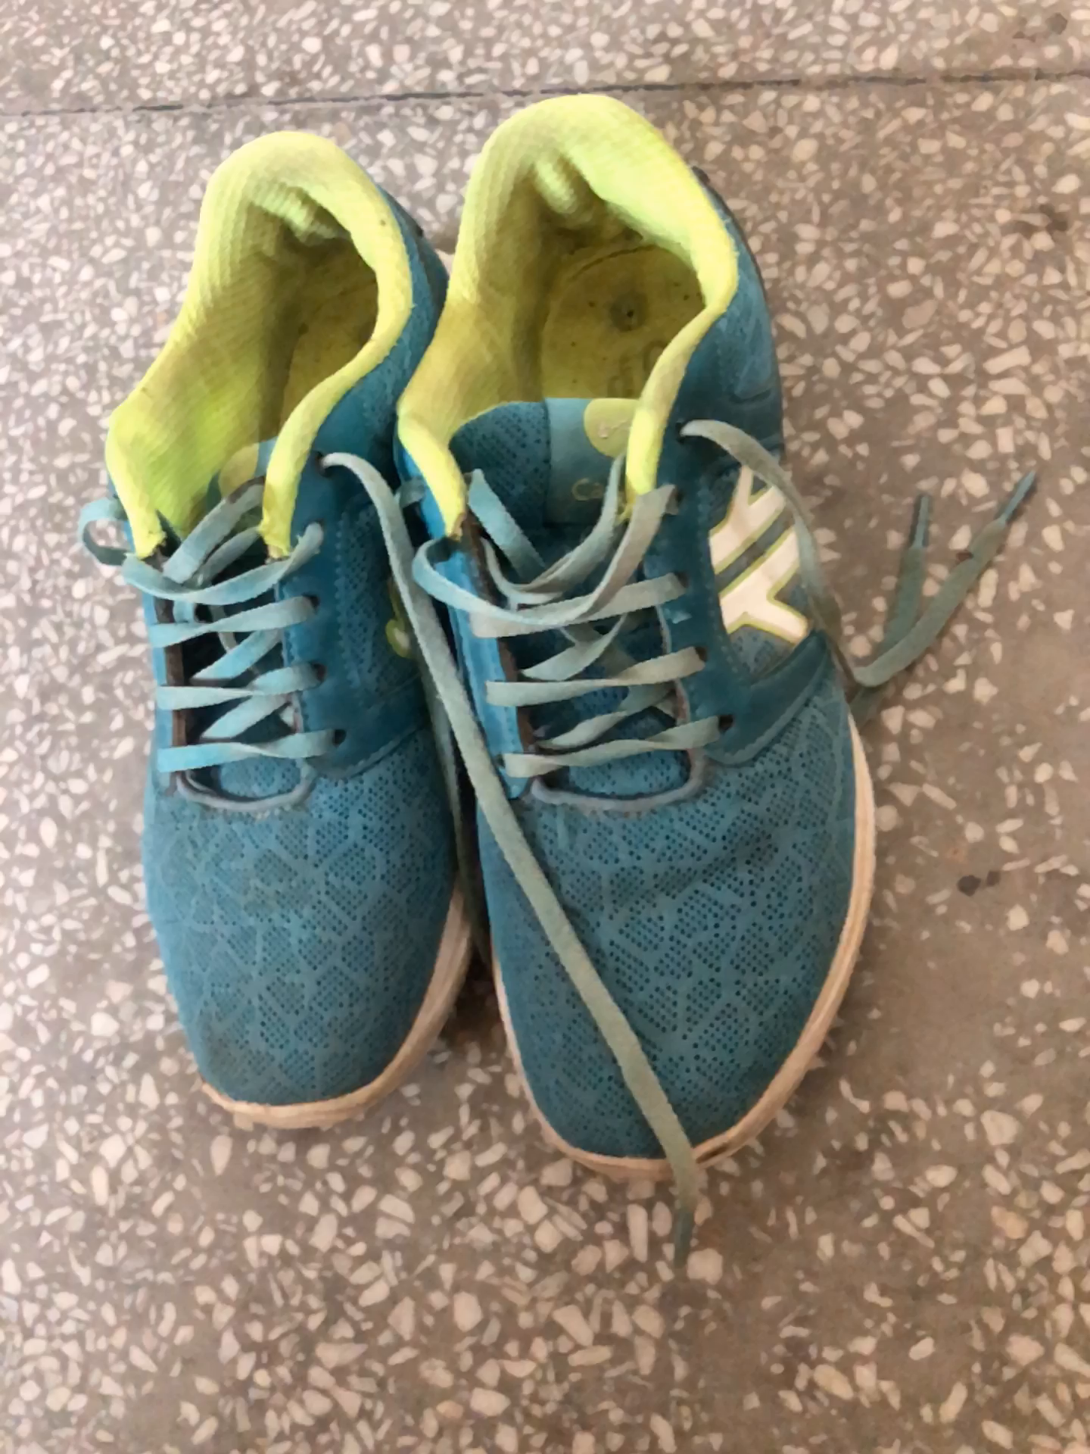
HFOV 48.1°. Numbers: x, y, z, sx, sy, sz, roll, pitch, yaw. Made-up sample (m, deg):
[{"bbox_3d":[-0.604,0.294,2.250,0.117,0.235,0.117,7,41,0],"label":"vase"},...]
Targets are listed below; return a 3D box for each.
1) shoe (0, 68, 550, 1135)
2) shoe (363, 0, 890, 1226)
[{"bbox_3d":[-0.059,-0.028,0.308,0.090,0.080,0.240,-3,74,18],"label":"shoe"},{"bbox_3d":[0.021,-0.024,0.293,0.100,0.080,0.250,-4,79,17],"label":"shoe"}]
